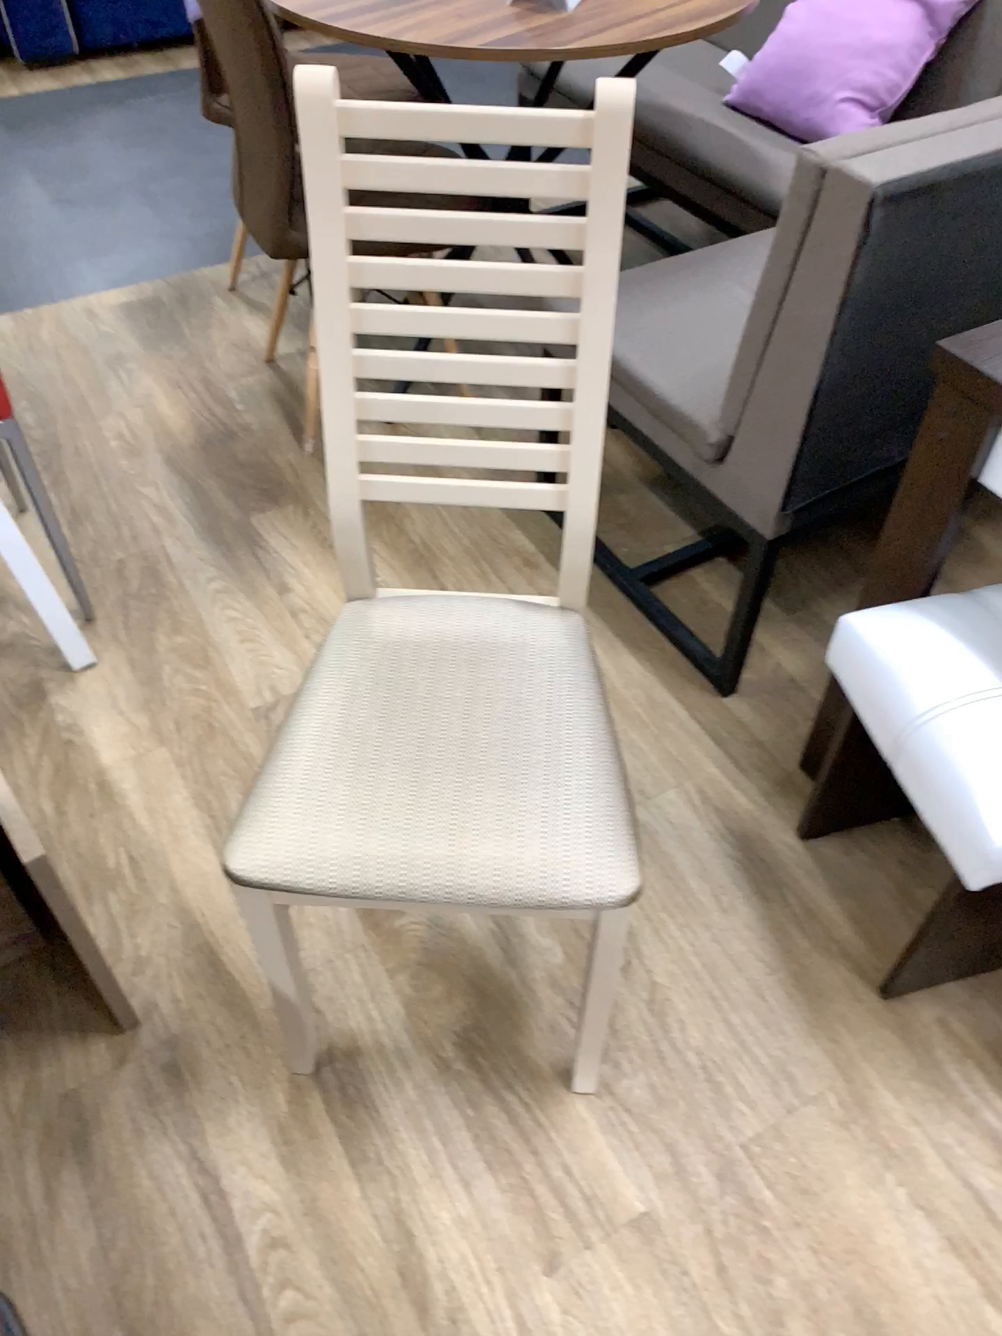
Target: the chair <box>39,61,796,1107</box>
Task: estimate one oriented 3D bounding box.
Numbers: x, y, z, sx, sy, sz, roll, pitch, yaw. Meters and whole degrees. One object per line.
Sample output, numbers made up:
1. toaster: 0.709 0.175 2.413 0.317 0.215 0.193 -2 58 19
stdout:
1. chair: -0.038 0.009 1.043 0.390 0.970 0.475 3 47 2
